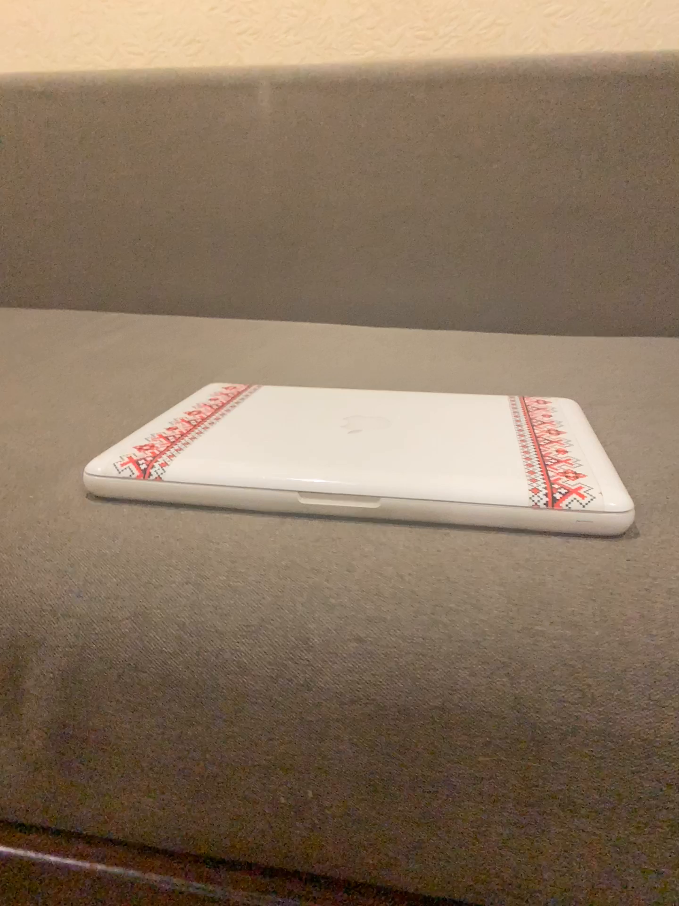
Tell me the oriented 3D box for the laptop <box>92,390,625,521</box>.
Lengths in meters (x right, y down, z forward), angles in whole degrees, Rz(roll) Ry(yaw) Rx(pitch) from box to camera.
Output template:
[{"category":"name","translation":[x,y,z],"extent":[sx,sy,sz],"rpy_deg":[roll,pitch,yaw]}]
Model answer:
[{"category":"laptop","translation":[0.023,-0.010,0.527],"extent":[0.324,0.003,0.223],"rpy_deg":[3,21,8]}]
